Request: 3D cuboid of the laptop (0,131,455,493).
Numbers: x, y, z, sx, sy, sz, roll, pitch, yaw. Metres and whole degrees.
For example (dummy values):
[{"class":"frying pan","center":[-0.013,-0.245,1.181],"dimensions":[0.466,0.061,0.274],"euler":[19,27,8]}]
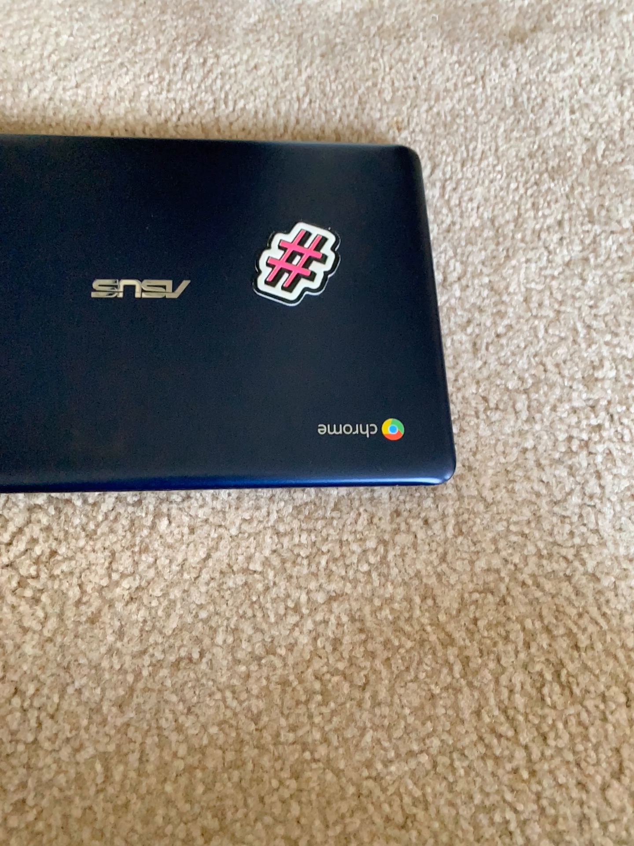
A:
[{"class":"laptop","center":[-0.079,-0.059,0.308],"dimensions":[0.272,0.006,0.182],"euler":[0,70,-6]}]
